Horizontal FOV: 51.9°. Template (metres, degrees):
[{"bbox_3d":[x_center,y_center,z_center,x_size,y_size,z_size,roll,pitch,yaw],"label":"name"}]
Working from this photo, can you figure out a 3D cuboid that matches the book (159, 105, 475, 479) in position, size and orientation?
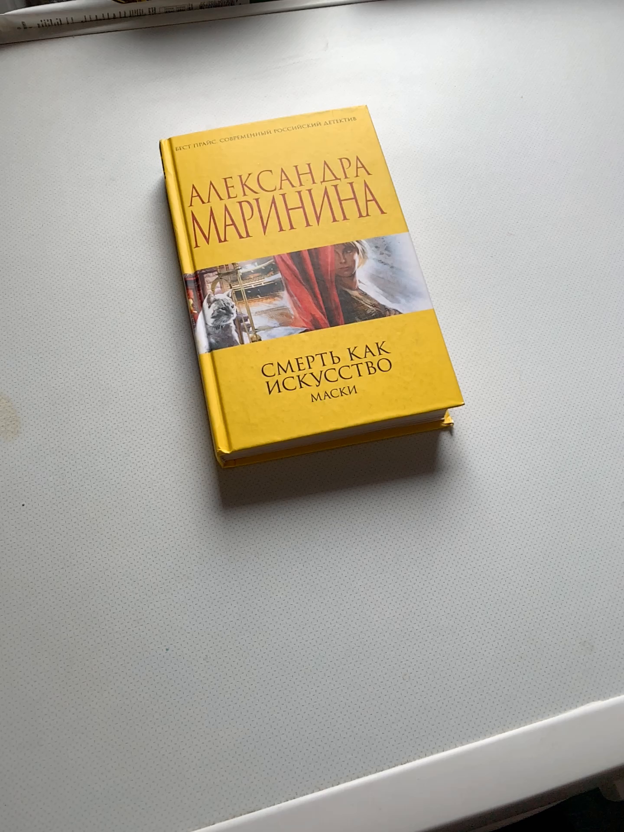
[{"bbox_3d":[-0.005,-0.073,0.335,0.120,0.030,0.189,-11,69,-7],"label":"book"}]
